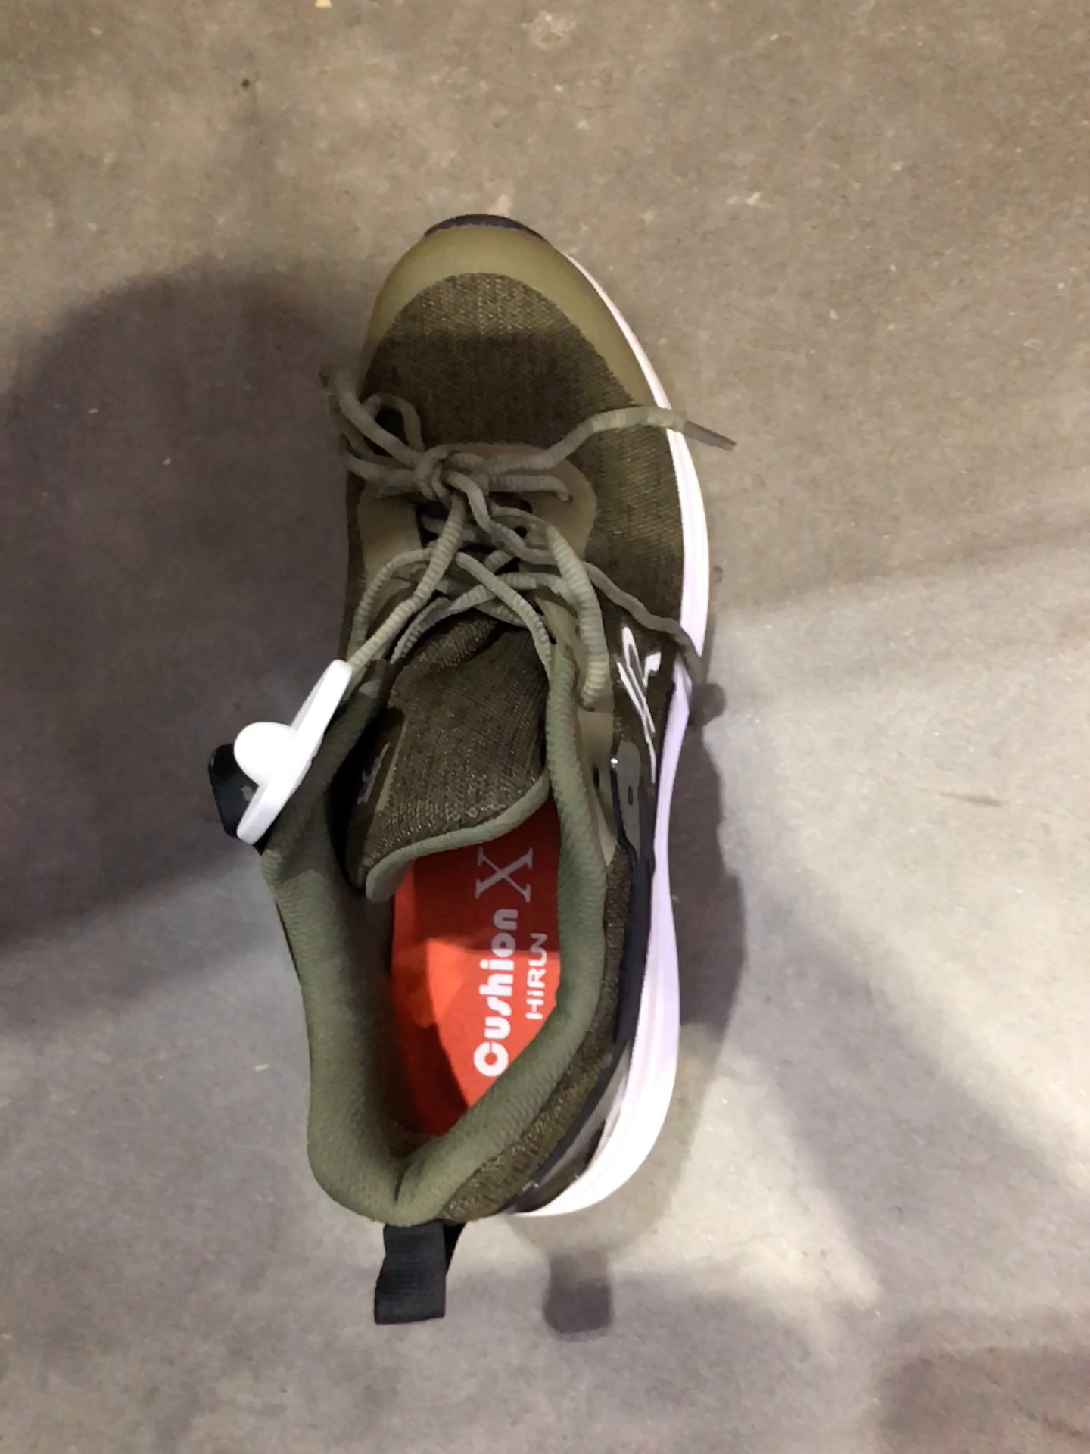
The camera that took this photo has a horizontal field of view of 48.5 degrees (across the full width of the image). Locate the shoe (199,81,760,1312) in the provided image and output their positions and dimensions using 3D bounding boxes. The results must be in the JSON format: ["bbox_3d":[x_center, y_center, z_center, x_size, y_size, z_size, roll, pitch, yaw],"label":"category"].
[{"bbox_3d":[-0.013,-0.006,0.342,0.120,0.100,0.290,-5,84,10],"label":"shoe"}]
